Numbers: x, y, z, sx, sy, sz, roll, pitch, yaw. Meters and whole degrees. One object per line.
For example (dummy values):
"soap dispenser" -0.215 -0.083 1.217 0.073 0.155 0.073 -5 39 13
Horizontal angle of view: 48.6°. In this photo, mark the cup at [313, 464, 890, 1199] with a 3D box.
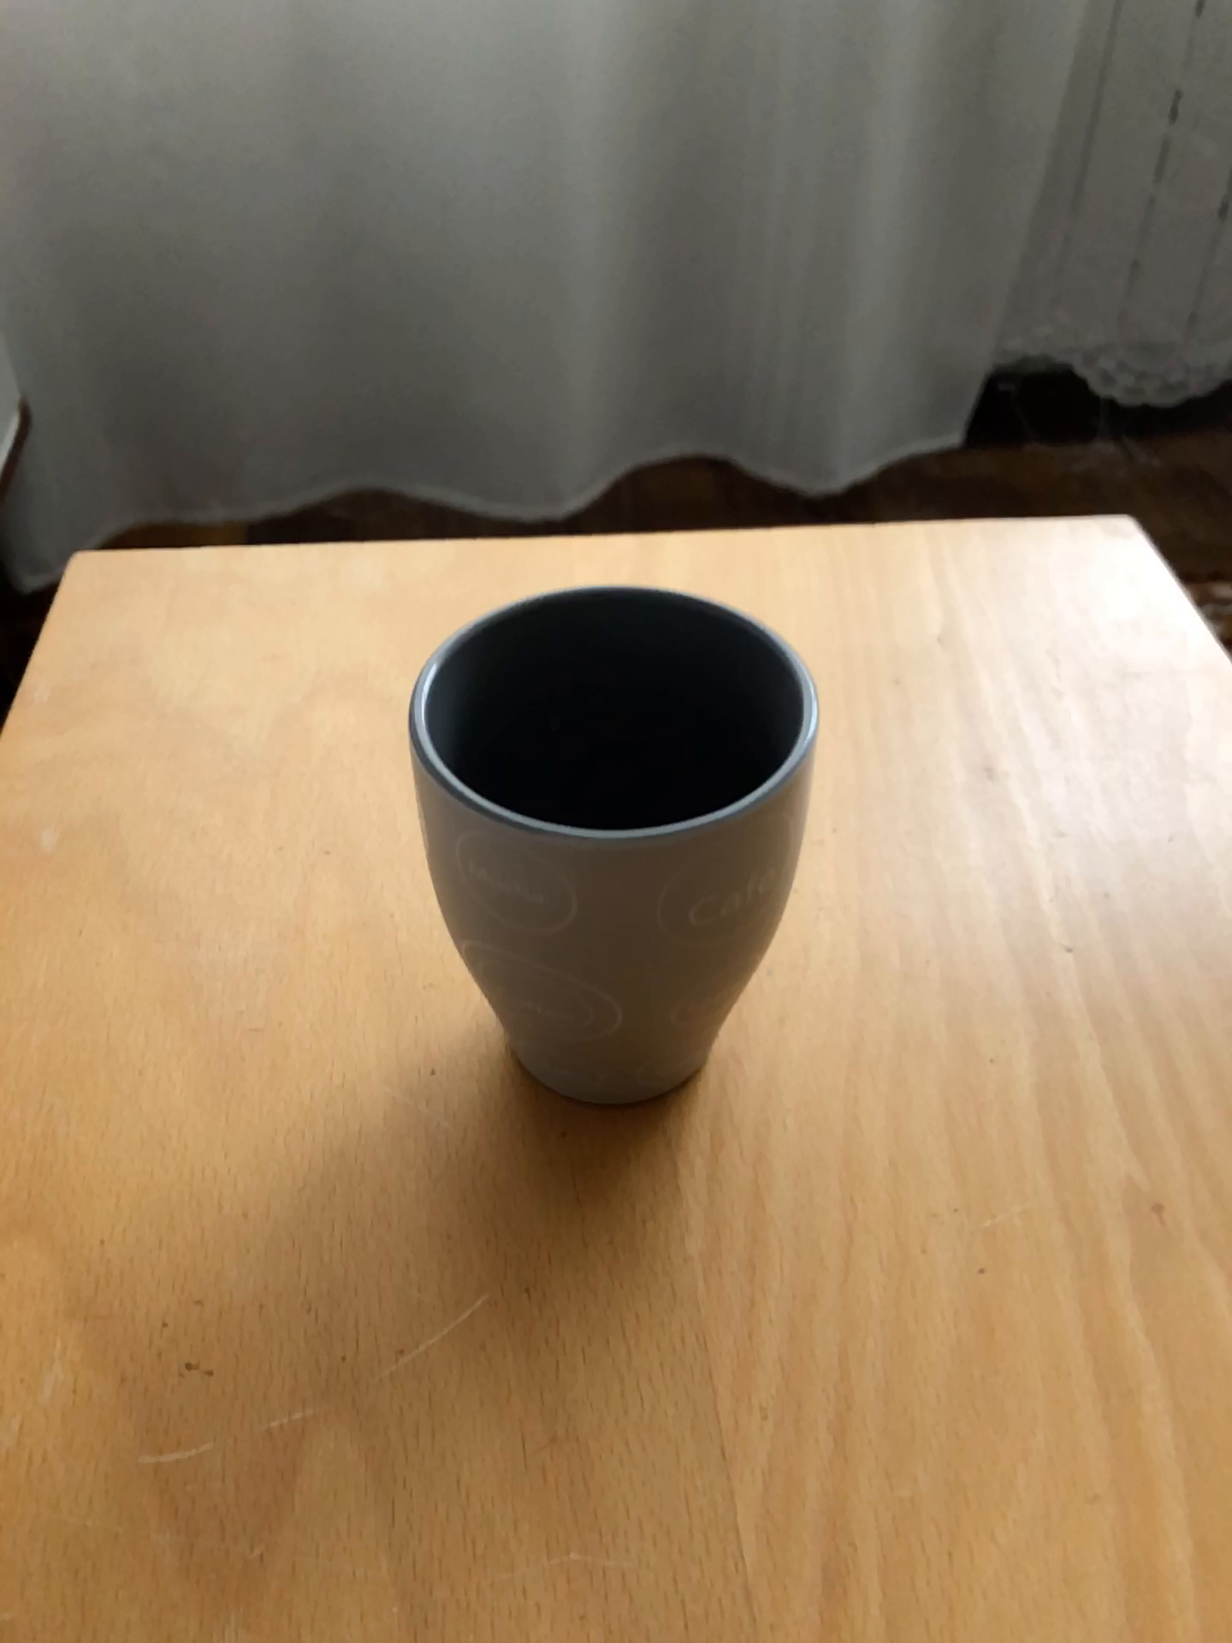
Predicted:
"cup" 0.004 -0.004 0.311 0.084 0.093 0.127 12 43 12
